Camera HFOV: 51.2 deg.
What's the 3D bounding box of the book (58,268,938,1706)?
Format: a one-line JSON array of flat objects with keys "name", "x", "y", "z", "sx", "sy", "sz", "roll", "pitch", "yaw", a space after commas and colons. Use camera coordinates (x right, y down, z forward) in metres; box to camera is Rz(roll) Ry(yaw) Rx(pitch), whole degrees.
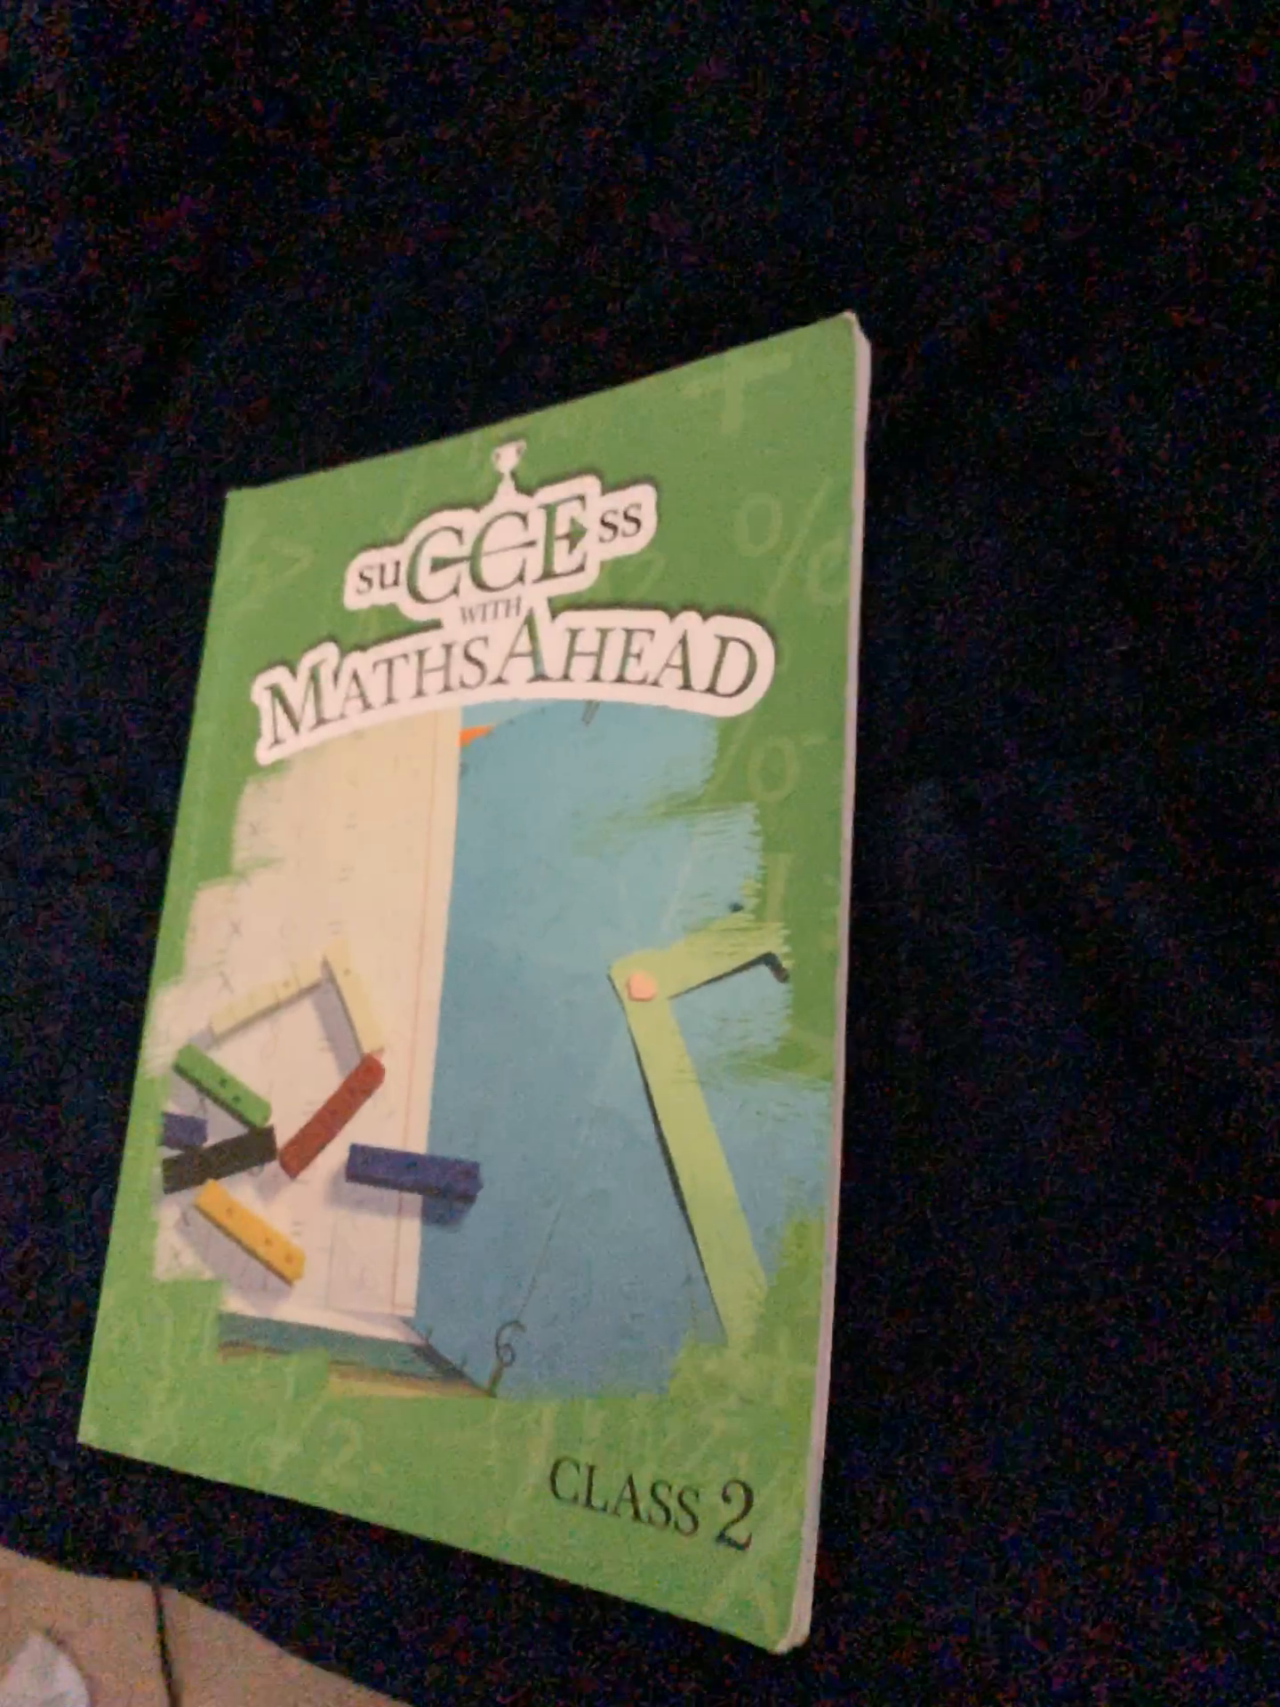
[{"name": "book", "x": -0.045, "y": 0.022, "z": 0.325, "sx": 0.231, "sy": 0.020, "sz": 0.280, "roll": -3, "pitch": 79, "yaw": 32}]
